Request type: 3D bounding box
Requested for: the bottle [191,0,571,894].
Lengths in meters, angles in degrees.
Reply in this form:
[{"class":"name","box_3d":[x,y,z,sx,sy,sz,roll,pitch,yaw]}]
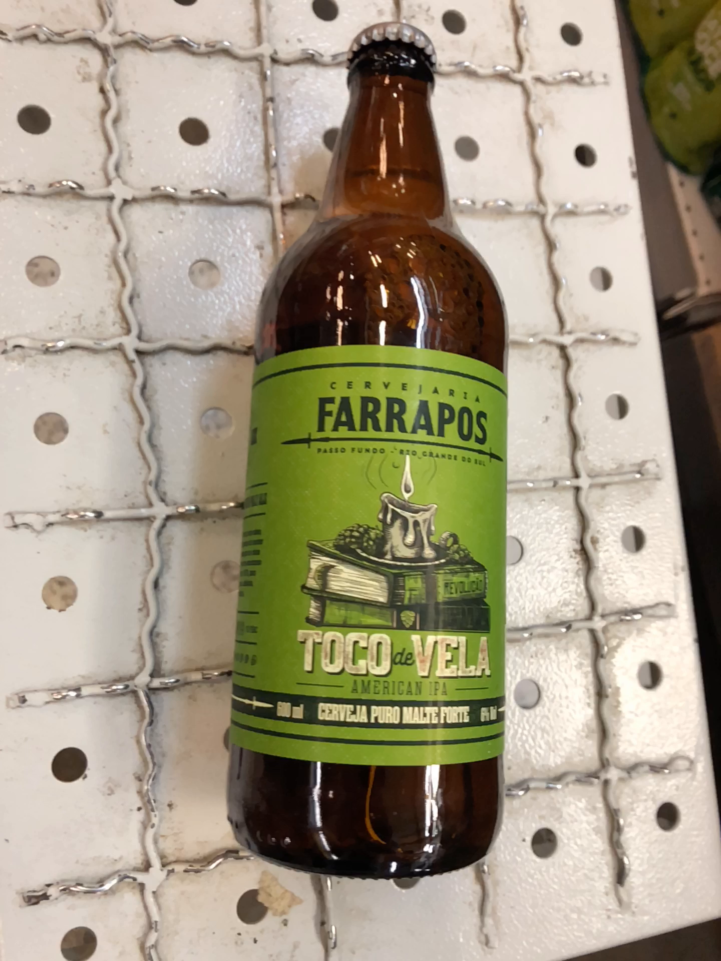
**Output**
[{"class":"bottle","box_3d":[0.006,-0.034,0.235,0.080,0.070,0.260,5,82,-19]}]
